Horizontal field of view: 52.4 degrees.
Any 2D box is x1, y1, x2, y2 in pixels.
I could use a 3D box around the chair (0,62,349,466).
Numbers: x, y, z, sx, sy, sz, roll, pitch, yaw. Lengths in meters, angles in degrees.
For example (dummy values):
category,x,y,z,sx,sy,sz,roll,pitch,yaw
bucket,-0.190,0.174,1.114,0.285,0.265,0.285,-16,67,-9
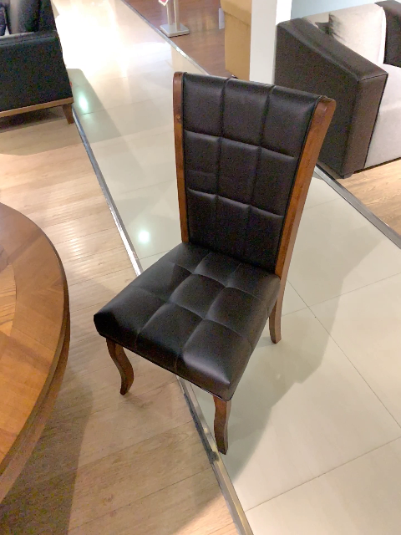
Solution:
category,x,y,z,sx,sy,sz,roll,pitch,yaw
chair,-0.005,0.014,1.227,0.531,0.937,0.601,21,50,24
